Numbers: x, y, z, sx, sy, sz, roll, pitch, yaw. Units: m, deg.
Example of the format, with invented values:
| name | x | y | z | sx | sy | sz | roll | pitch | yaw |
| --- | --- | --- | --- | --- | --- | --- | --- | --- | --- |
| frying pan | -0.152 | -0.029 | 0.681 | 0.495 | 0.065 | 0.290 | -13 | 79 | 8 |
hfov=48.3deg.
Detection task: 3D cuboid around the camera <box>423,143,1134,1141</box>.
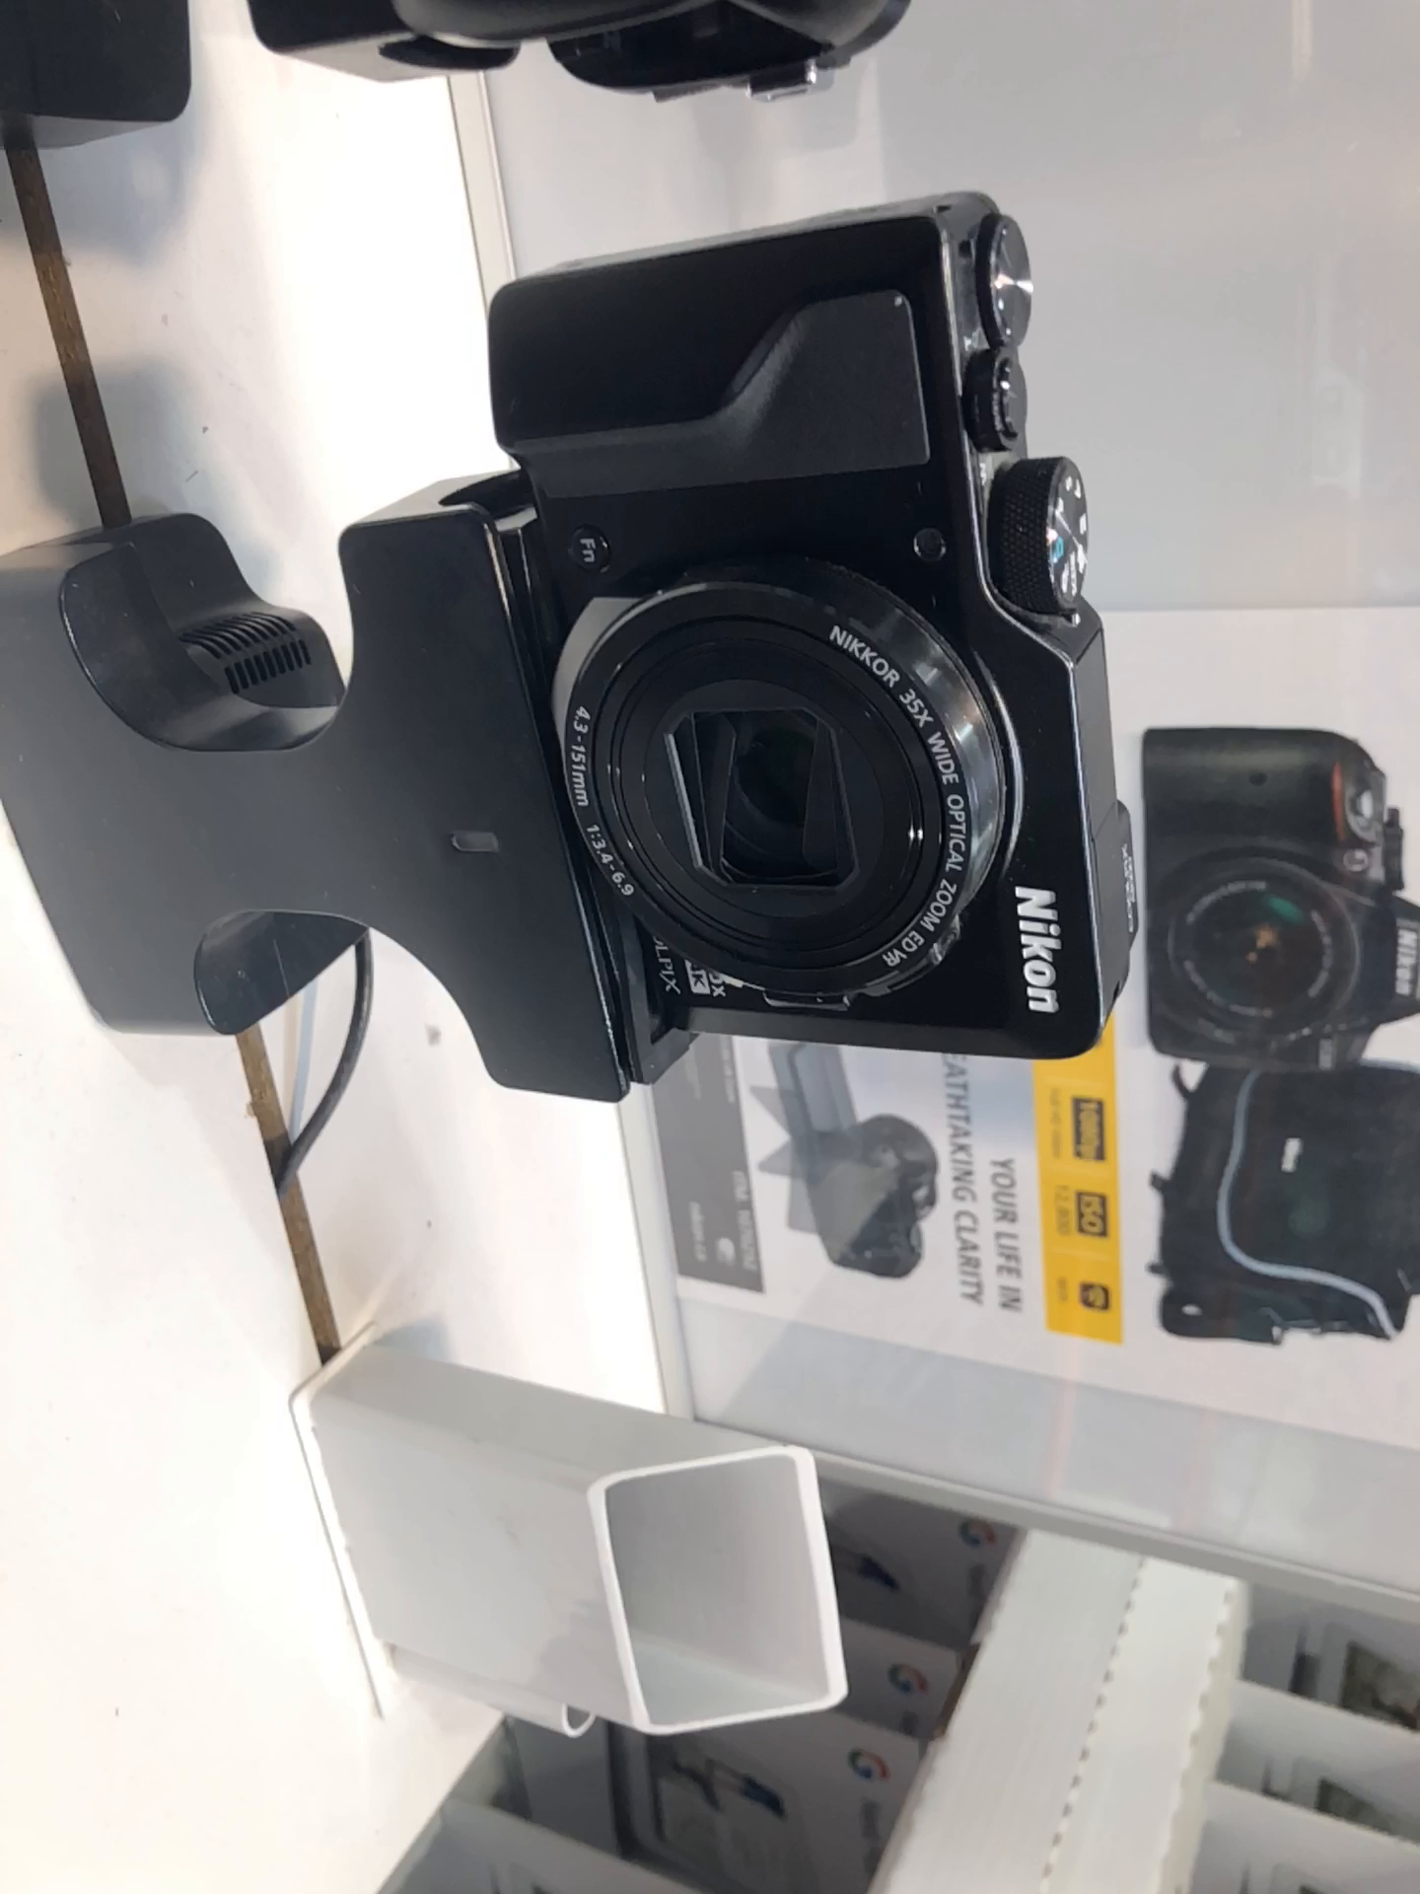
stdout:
| name | x | y | z | sx | sy | sz | roll | pitch | yaw |
| --- | --- | --- | --- | --- | --- | --- | --- | --- | --- |
| camera | 0.017 | -0.036 | 0.214 | 0.044 | 0.069 | 0.117 | -59 | 145 | -50 |
